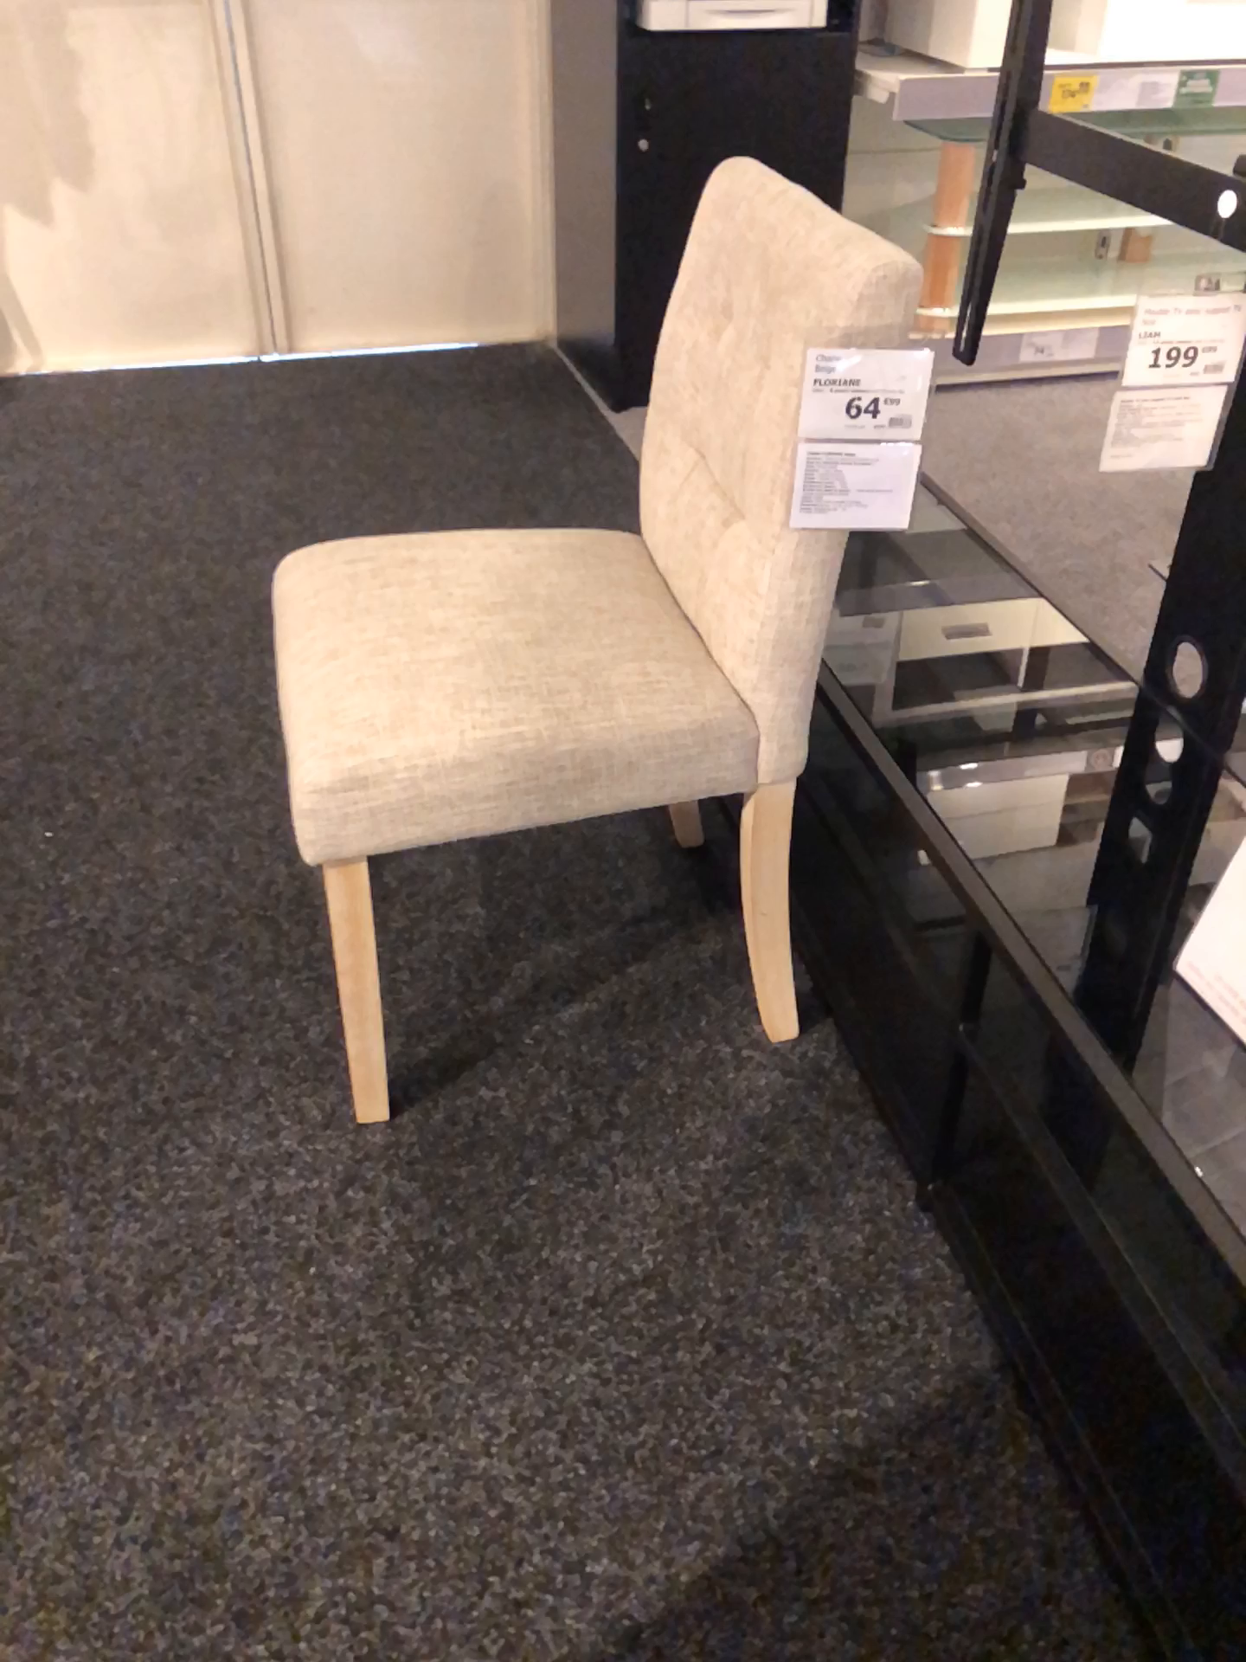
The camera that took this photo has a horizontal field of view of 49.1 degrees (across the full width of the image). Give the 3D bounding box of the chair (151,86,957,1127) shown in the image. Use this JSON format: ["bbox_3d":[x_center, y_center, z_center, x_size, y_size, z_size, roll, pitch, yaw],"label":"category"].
[{"bbox_3d":[-0.096,-0.239,1.402,0.561,0.855,0.553,-7,36,-11],"label":"chair"}]
